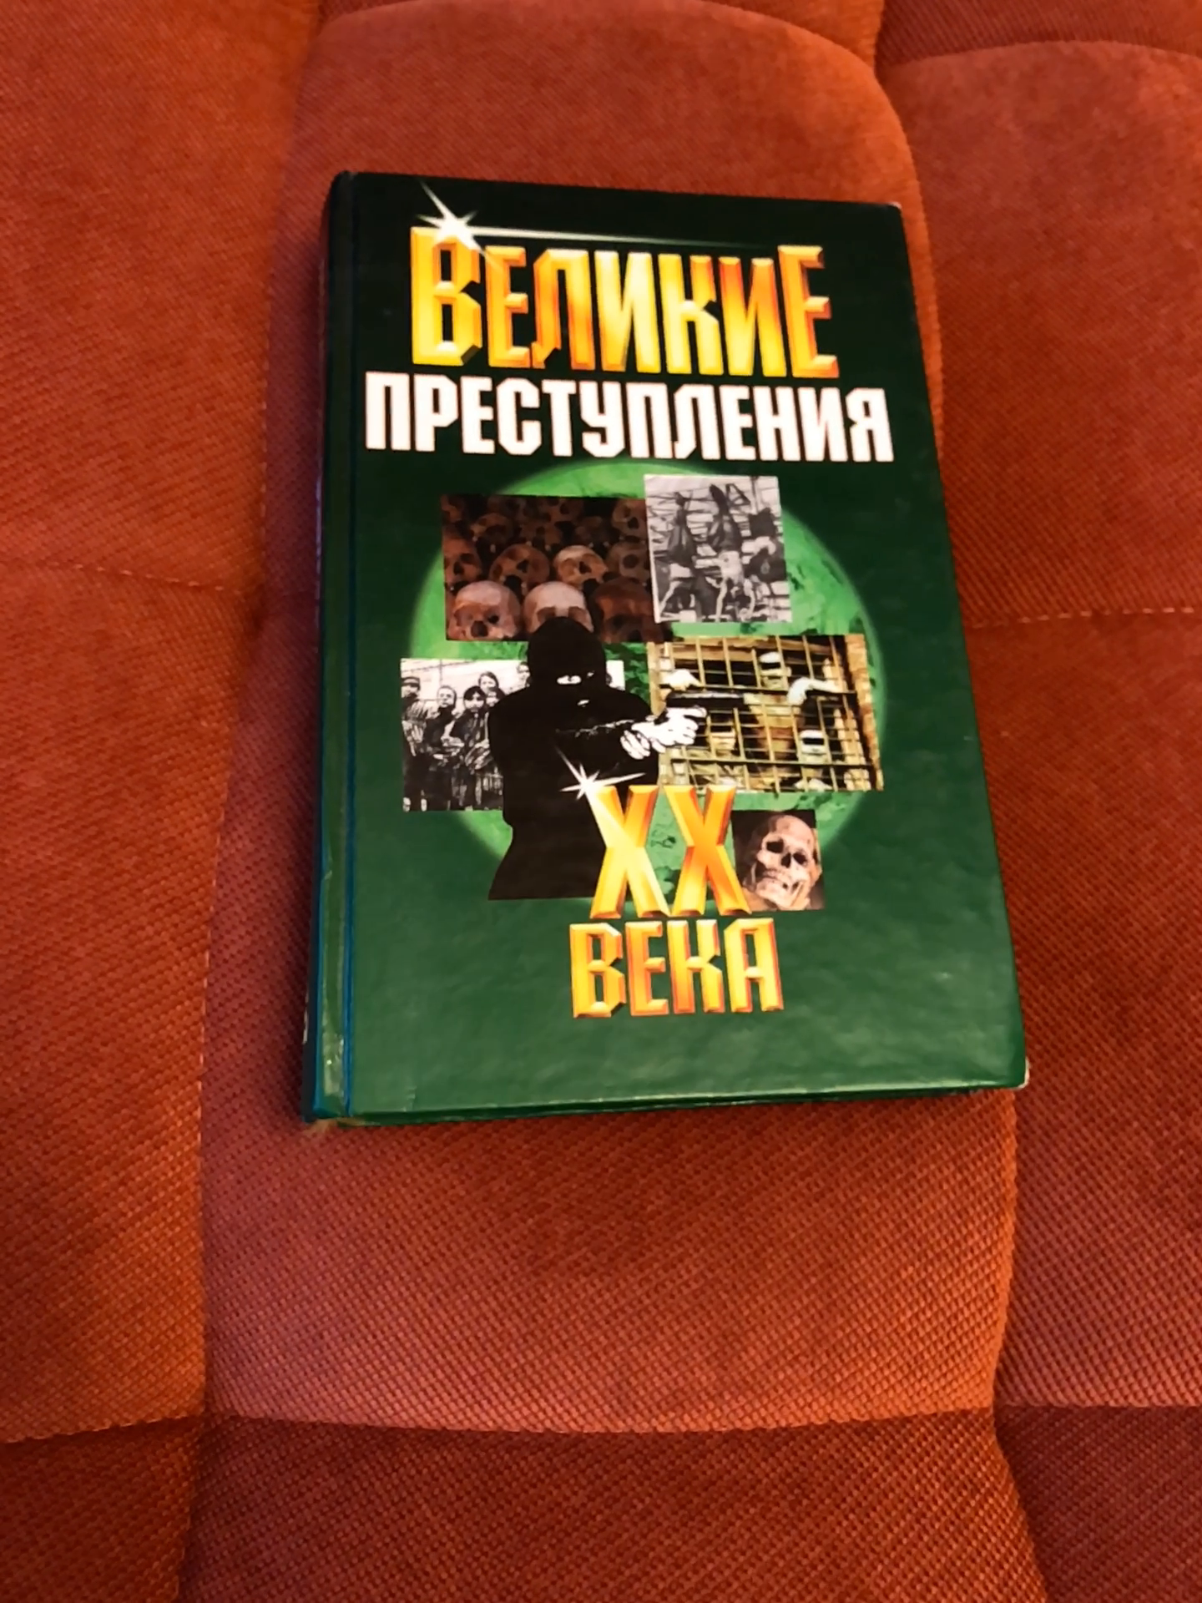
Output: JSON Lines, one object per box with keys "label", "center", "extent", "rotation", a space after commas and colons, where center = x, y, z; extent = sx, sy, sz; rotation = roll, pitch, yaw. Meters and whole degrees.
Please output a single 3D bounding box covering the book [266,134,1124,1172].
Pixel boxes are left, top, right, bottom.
{"label": "book", "center": [0.013, -0.040, 0.301], "extent": [0.160, 0.040, 0.231], "rotation": [0, 71, -7]}
